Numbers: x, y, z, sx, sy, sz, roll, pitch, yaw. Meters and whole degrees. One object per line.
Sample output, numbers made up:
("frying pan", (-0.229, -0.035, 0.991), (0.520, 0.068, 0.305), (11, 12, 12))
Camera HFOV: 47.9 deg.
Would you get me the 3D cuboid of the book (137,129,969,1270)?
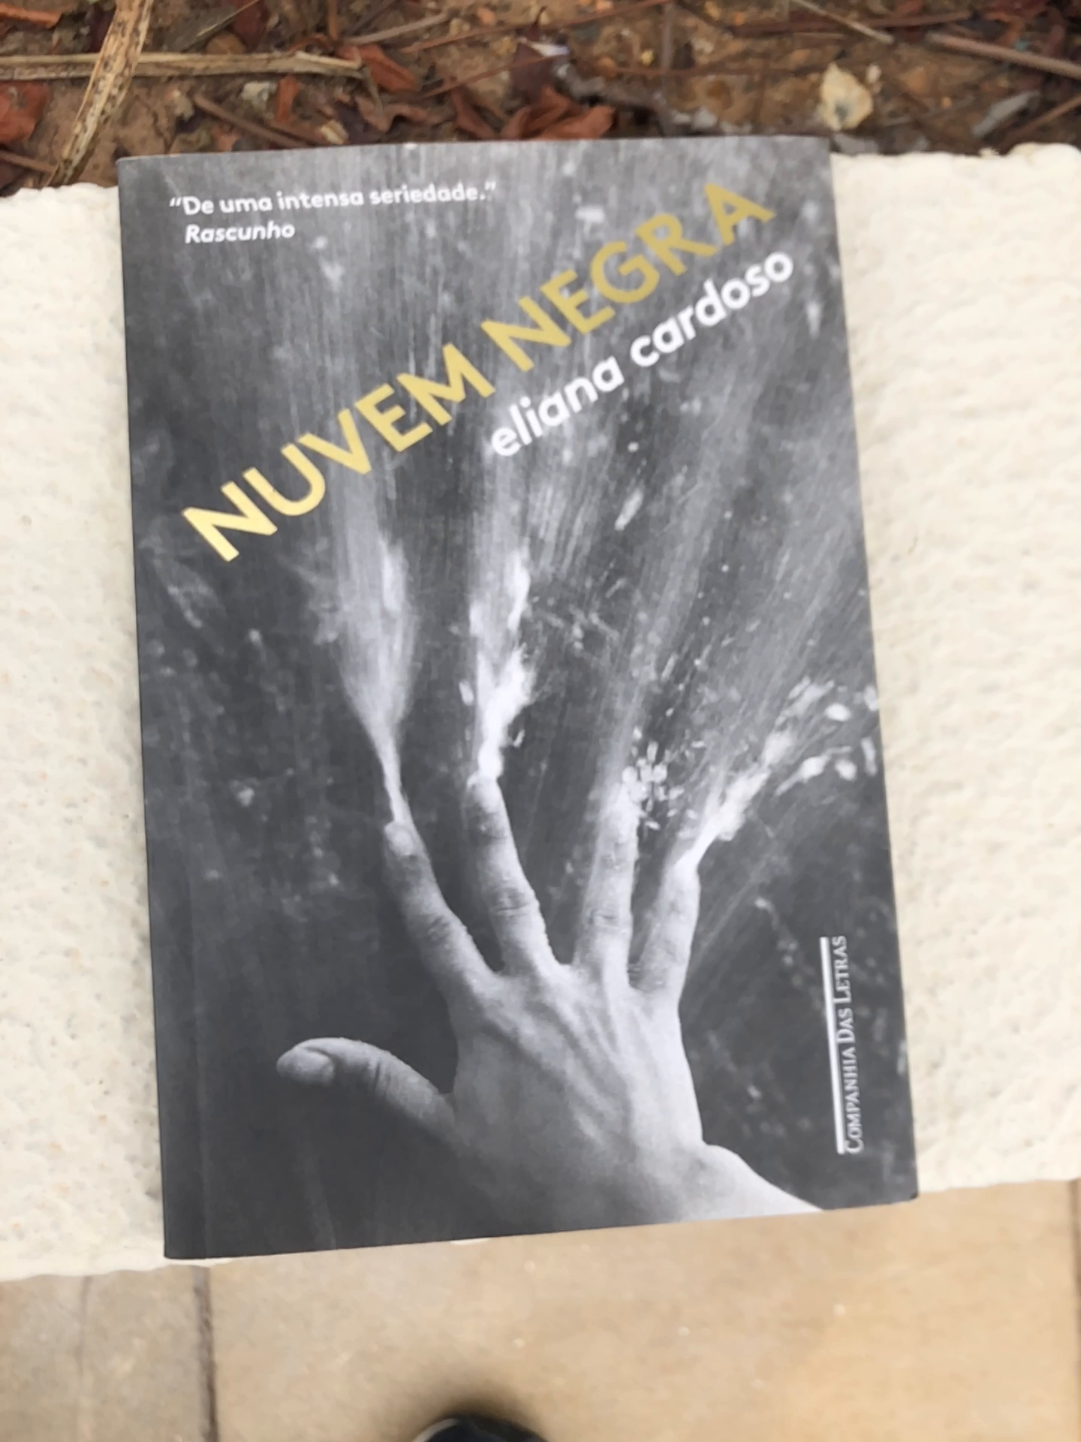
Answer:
("book", (0.002, -0.009, 0.226), (0.140, 0.013, 0.200), (-3, 87, -5))
